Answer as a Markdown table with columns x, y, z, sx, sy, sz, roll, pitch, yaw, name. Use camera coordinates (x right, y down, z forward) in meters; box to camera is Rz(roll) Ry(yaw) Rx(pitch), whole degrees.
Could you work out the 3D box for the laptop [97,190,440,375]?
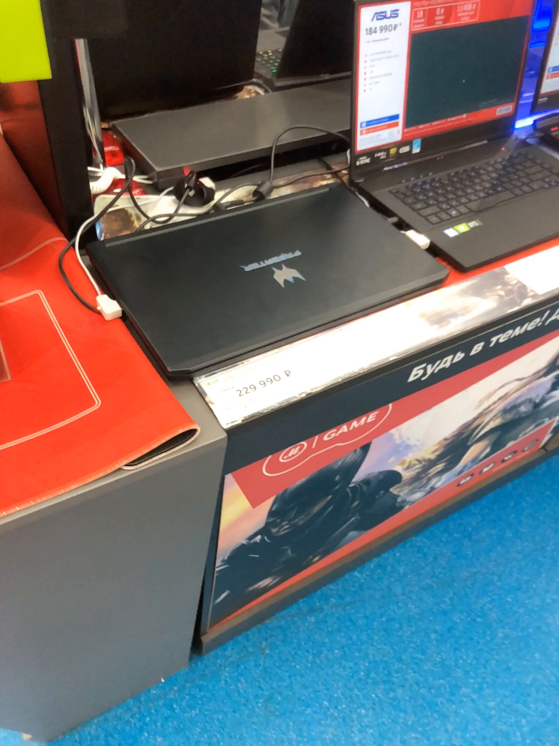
| x | y | z | sx | sy | sz | roll | pitch | yaw | name |
| --- | --- | --- | --- | --- | --- | --- | --- | --- | --- |
| -0.010 | -0.130 | 0.748 | 0.354 | 0.006 | 0.222 | -22 | 51 | -25 | laptop |
